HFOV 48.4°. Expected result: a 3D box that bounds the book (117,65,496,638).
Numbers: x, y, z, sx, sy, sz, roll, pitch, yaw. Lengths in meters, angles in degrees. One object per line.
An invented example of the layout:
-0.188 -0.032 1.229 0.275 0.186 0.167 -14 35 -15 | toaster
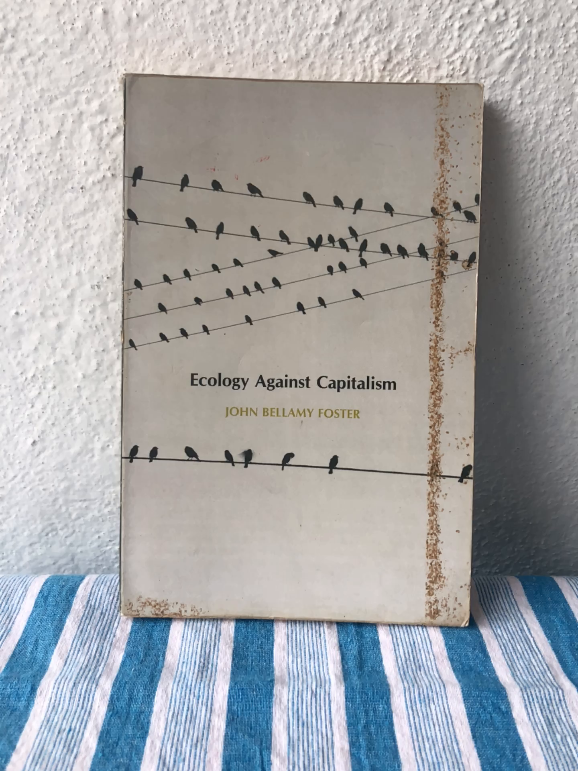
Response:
0.007 -0.013 0.255 0.140 0.210 0.030 0 0 3 | book
